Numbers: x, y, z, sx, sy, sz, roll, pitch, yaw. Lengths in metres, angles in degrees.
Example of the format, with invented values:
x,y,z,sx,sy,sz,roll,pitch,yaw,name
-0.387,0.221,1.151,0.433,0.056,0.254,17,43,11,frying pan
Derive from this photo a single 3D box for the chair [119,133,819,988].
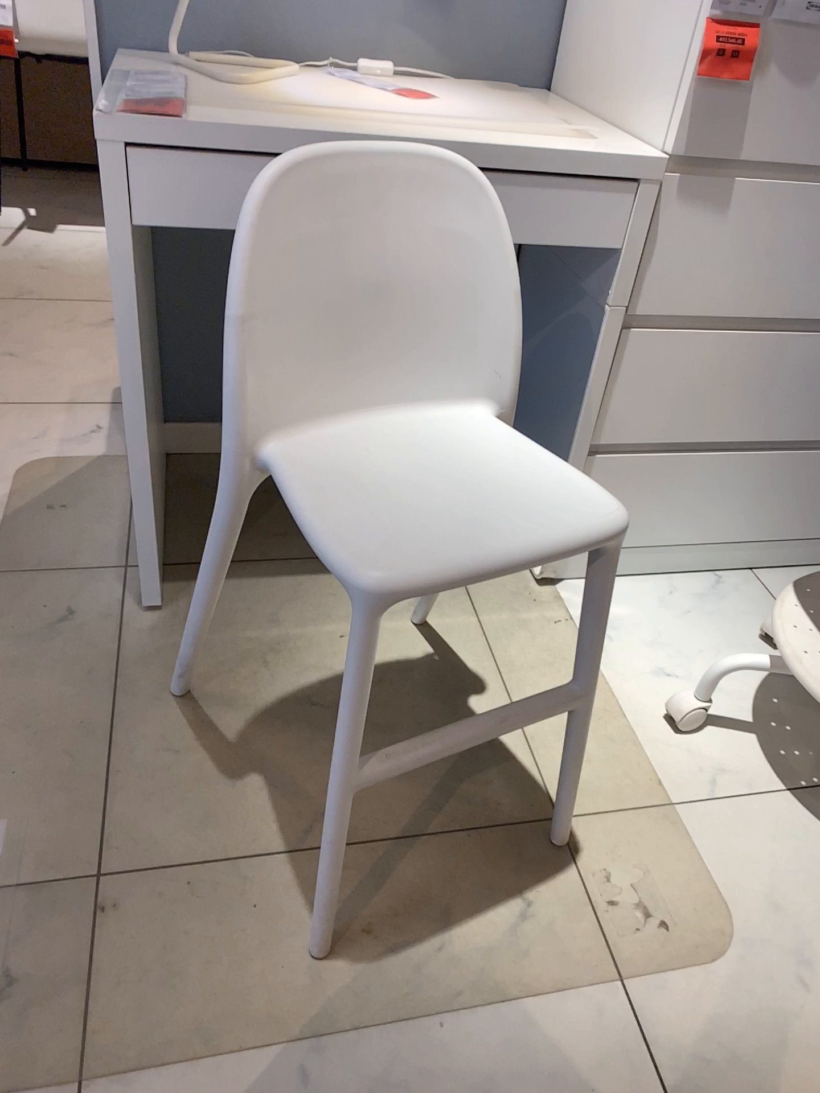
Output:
x,y,z,sx,sy,sz,roll,pitch,yaw,name
-0.005,-0.006,0.935,0.451,0.727,0.492,-13,41,-26,chair
